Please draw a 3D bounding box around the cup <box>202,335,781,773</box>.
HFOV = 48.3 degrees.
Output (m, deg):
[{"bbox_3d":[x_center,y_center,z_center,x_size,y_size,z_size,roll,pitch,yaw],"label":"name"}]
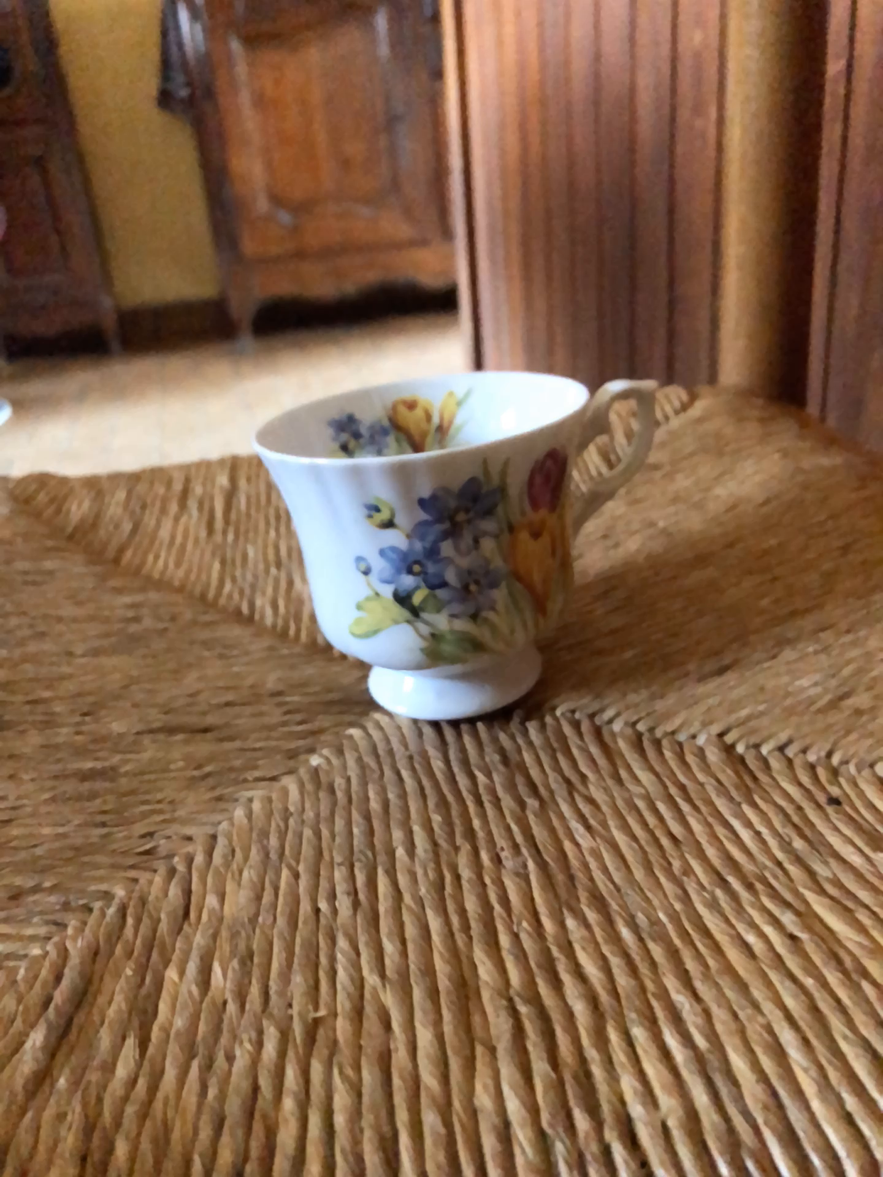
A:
[{"bbox_3d":[0.011,-0.019,0.278,0.130,0.070,0.090,-14,26,-16],"label":"cup"}]
